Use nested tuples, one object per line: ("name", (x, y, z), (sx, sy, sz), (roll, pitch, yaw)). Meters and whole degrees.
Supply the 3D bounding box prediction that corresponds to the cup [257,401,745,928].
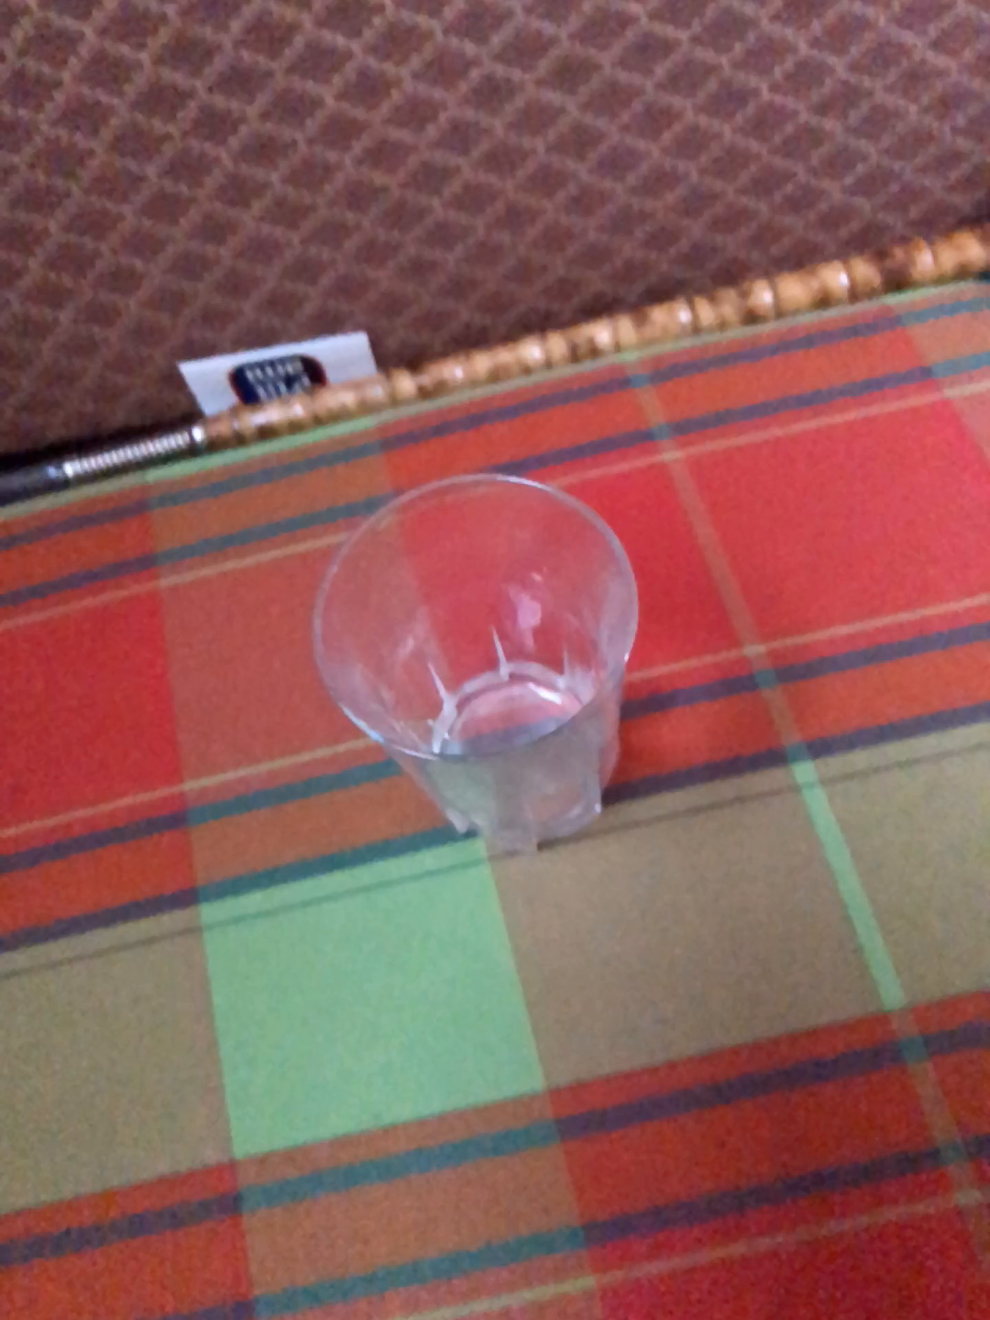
("cup", (0.003, 0.005, 0.256), (0.070, 0.080, 0.070), (-2, 66, 5))
